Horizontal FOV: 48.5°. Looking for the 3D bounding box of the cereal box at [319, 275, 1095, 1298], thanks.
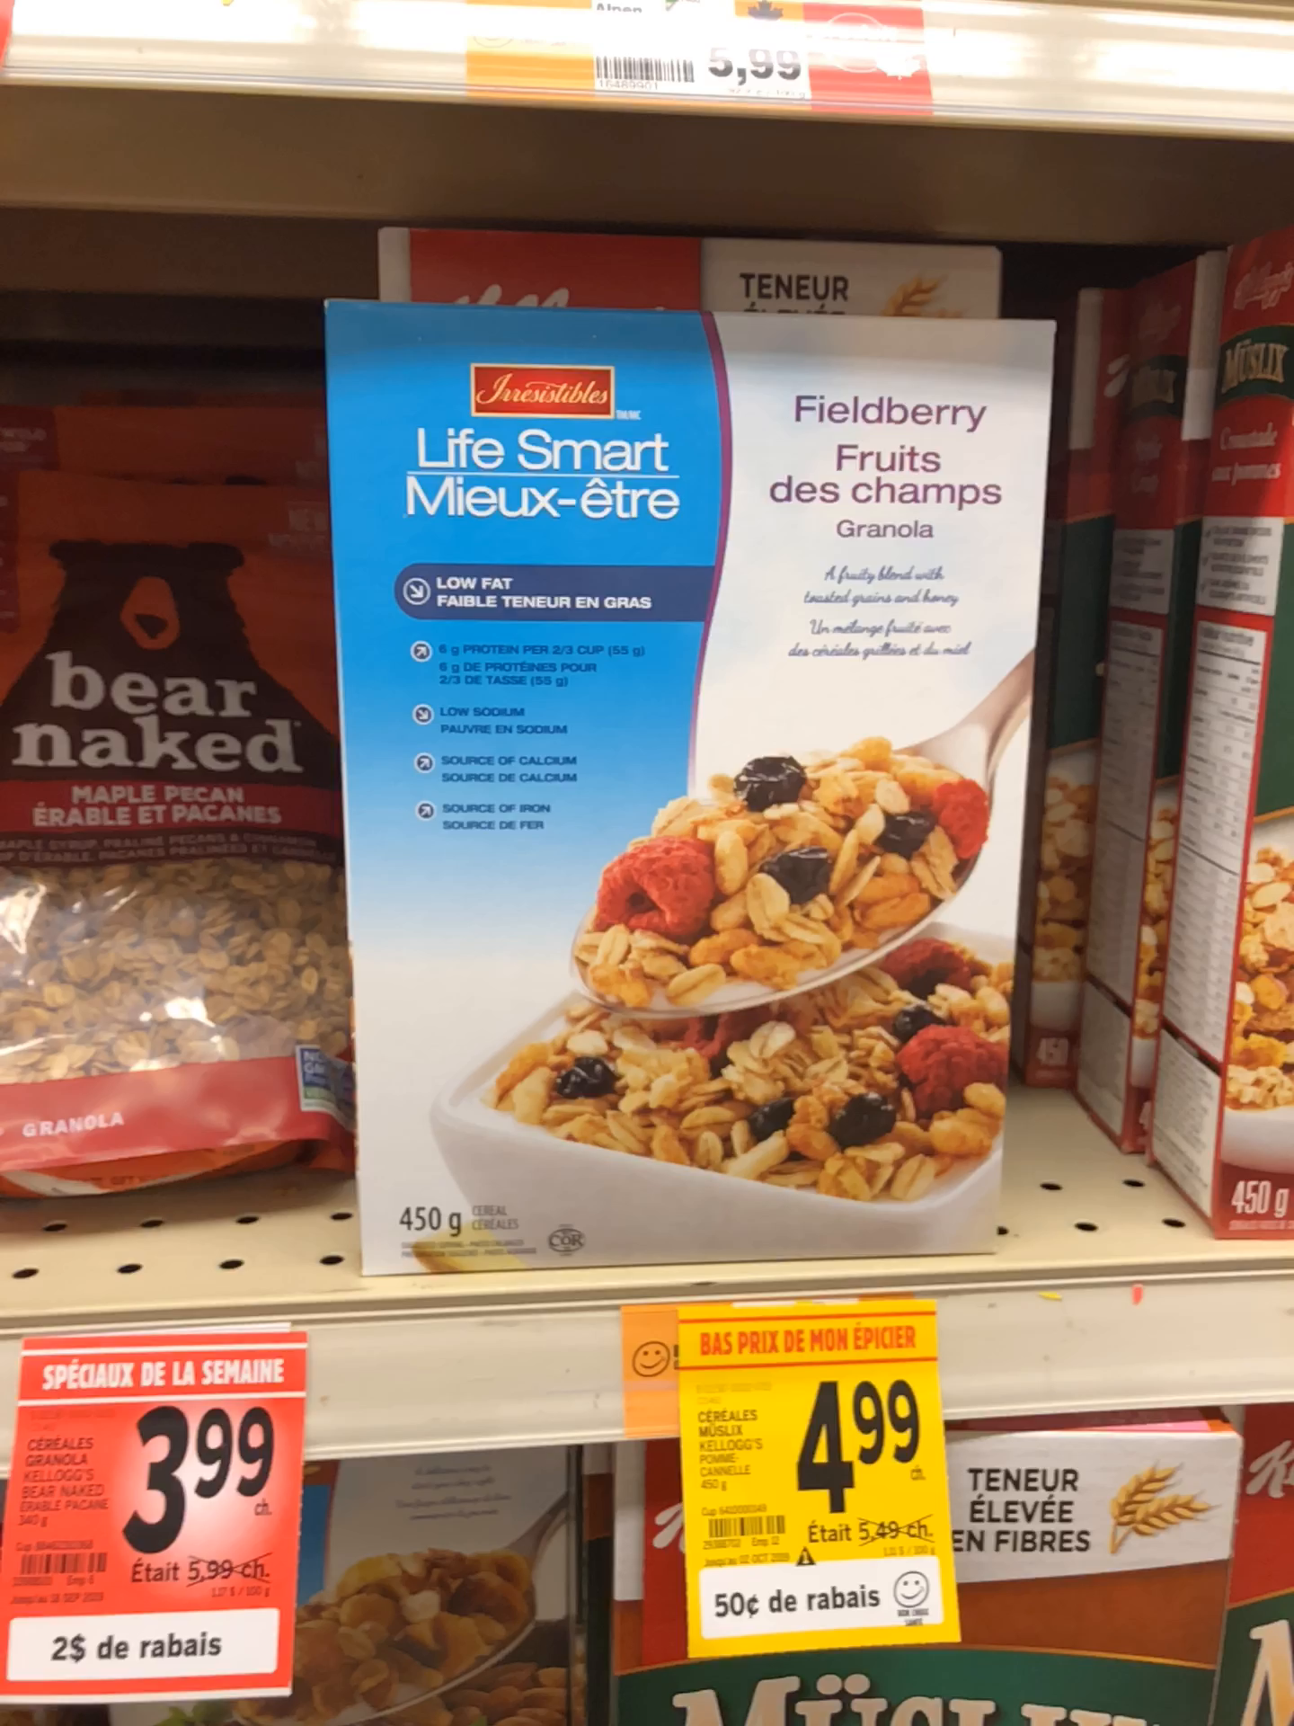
[{"bbox_3d":[0.011,-0.015,0.363,0.170,0.239,0.050,0,13,-5],"label":"cereal box"}]
